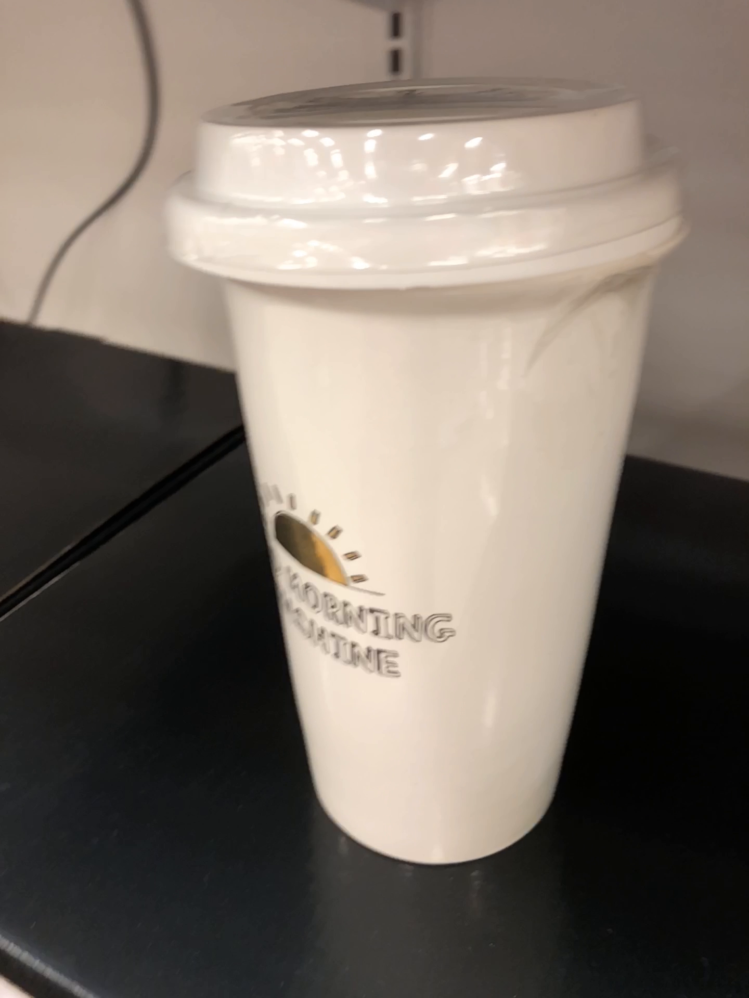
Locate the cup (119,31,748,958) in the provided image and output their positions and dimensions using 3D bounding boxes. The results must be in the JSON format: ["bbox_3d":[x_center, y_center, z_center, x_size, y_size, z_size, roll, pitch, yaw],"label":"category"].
[{"bbox_3d":[0.016,-0.008,0.180,0.100,0.149,0.100,-1,33,0],"label":"cup"}]
